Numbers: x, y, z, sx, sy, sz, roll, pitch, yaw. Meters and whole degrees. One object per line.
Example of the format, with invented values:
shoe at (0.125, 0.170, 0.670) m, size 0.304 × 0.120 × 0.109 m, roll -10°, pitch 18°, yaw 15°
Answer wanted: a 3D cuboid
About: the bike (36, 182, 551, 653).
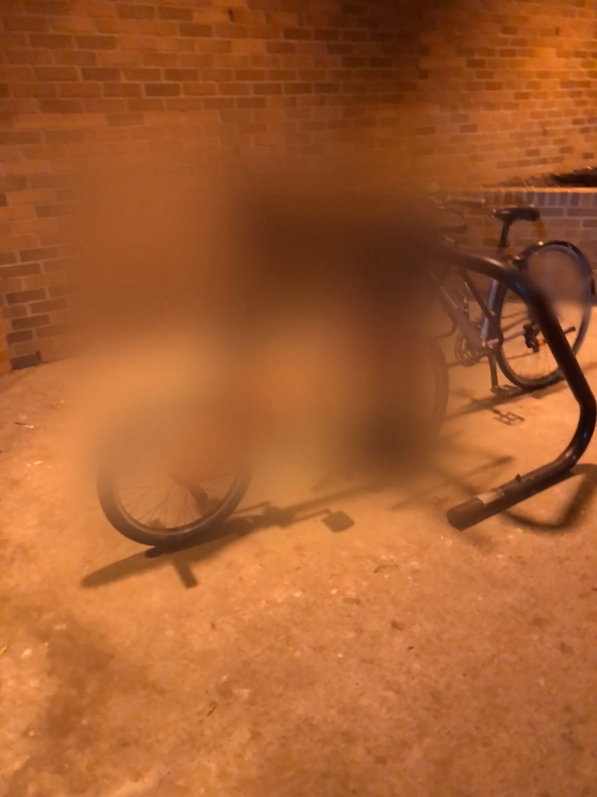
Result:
bike at (0.004, -0.089, 2.034) m, size 1.291 × 0.927 × 0.747 m, roll -17°, pitch 29°, yaw -29°
